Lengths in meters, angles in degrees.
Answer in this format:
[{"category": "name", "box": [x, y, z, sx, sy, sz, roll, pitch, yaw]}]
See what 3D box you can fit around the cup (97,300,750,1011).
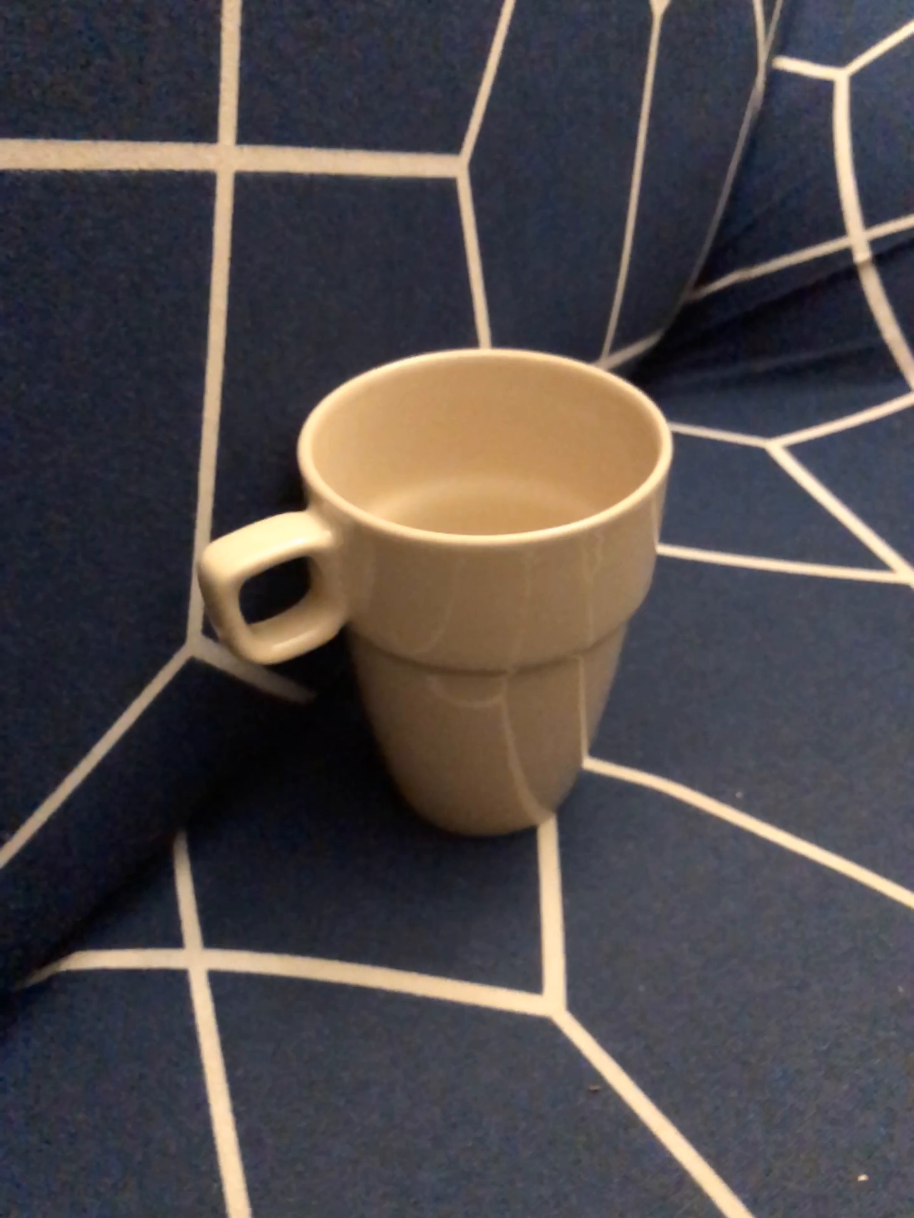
[{"category": "cup", "box": [-0.008, 0.005, 0.247, 0.104, 0.109, 0.090, -23, 43, -24]}]
